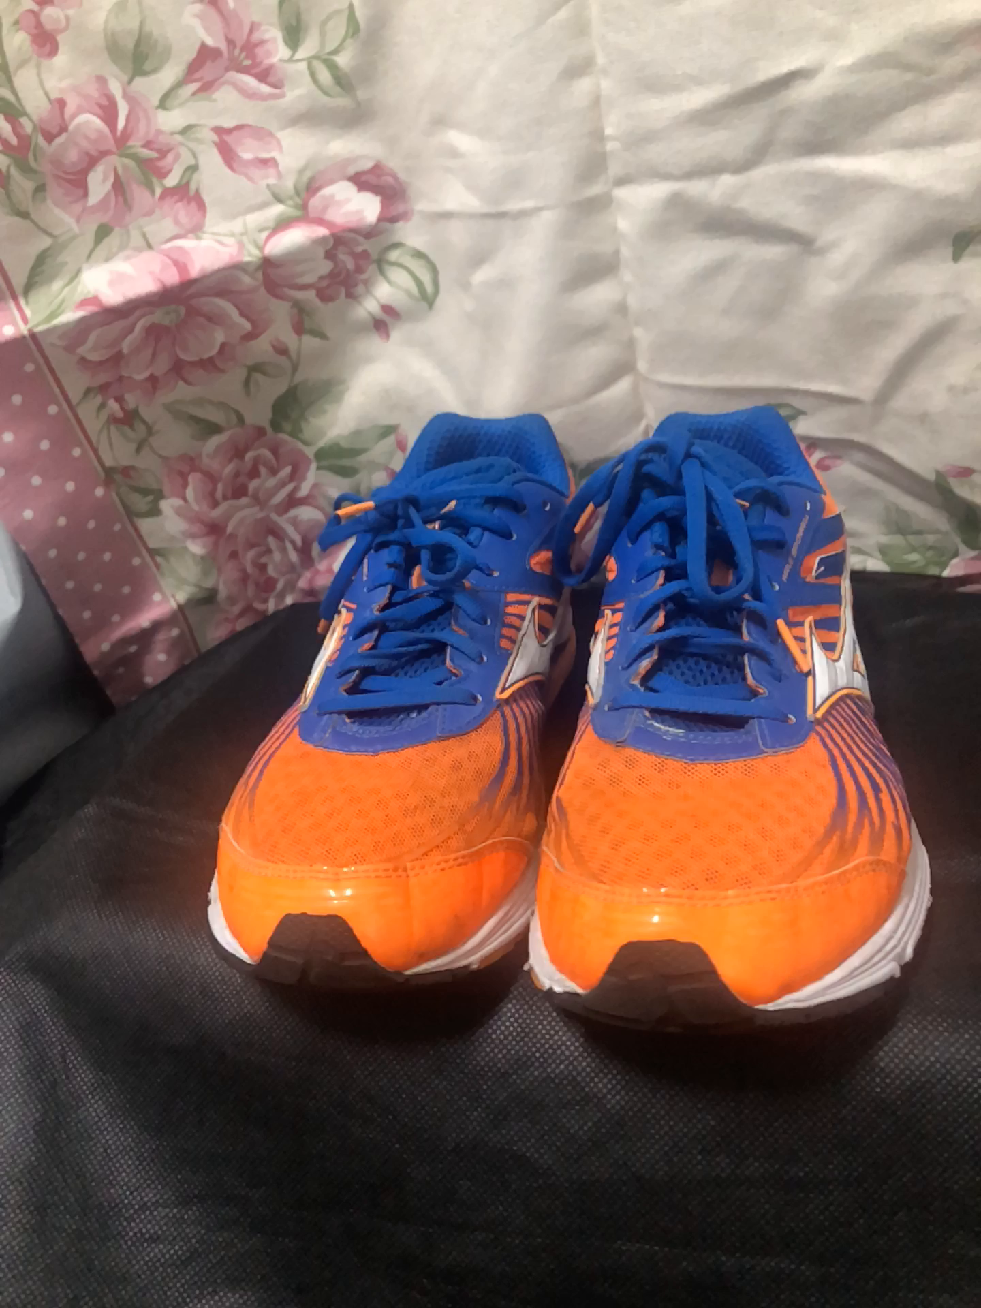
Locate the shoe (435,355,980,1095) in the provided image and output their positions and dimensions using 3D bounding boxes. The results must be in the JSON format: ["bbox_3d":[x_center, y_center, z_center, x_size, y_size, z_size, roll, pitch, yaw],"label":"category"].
[{"bbox_3d":[0.072,-0.006,0.317,0.110,0.109,0.222,0,27,14],"label":"shoe"}]

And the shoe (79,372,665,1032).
[{"bbox_3d":[-0.009,-0.008,0.349,0.110,0.109,0.222,0,27,14],"label":"shoe"}]
